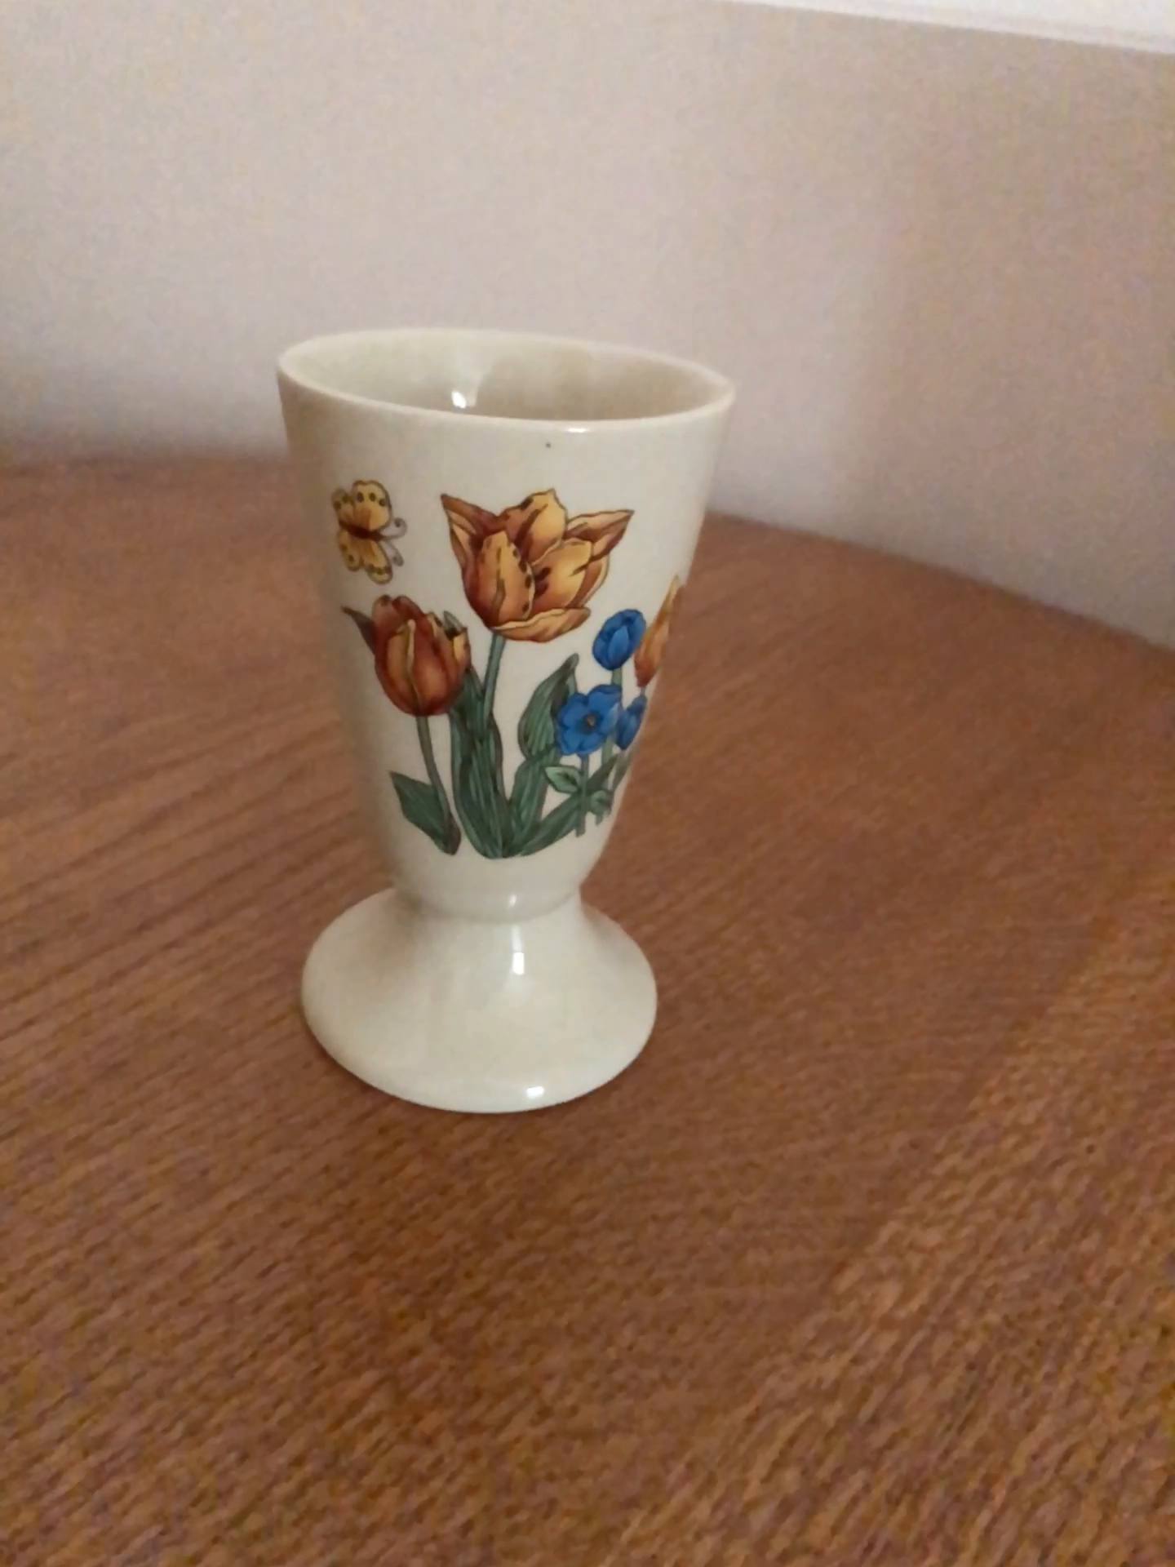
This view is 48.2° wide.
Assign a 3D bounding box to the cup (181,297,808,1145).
[{"bbox_3d":[-0.022,-0.012,0.229,0.080,0.119,0.080,5,27,-3],"label":"cup"}]

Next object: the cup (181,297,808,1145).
[{"bbox_3d":[-0.022,-0.012,0.229,0.080,0.119,0.080,5,27,-3],"label":"cup"}]
